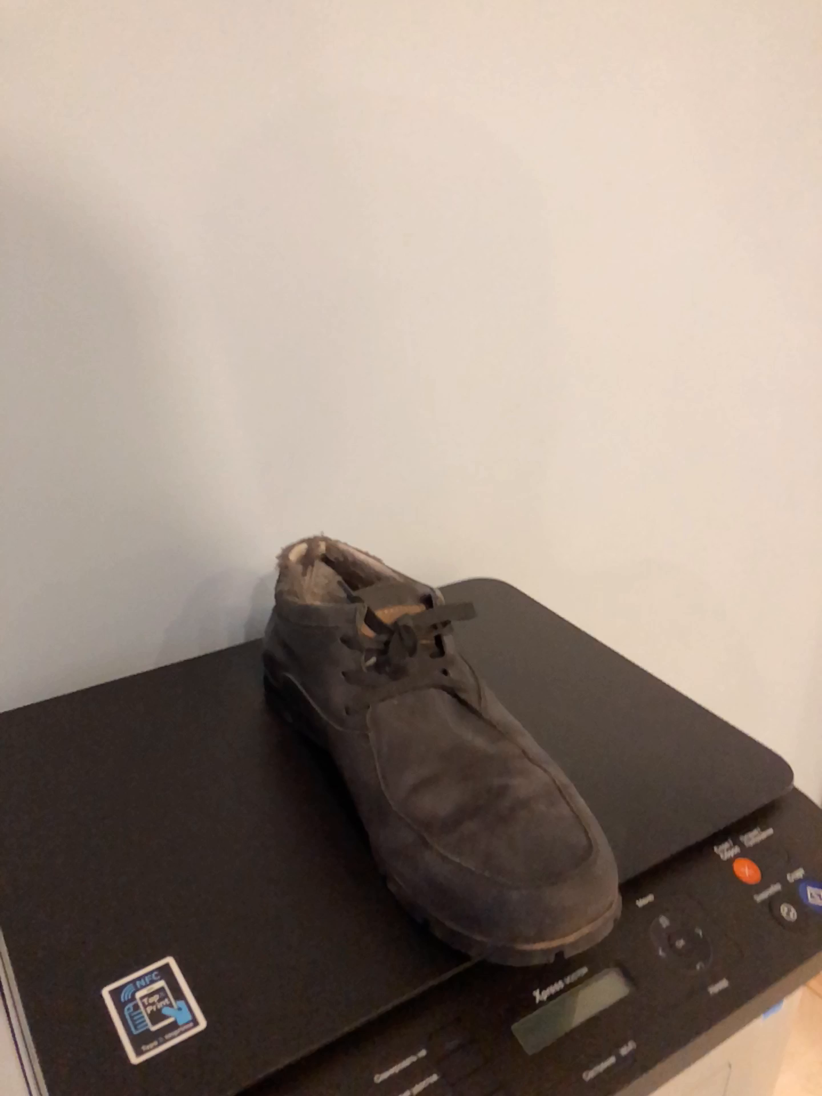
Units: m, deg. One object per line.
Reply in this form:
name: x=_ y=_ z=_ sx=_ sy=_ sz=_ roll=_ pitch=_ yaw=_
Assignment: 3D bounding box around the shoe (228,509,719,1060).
shoe: x=0.006 y=0.088 z=0.468 sx=0.110 sy=0.109 sz=0.281 roll=-12 pitch=28 yaw=-26
